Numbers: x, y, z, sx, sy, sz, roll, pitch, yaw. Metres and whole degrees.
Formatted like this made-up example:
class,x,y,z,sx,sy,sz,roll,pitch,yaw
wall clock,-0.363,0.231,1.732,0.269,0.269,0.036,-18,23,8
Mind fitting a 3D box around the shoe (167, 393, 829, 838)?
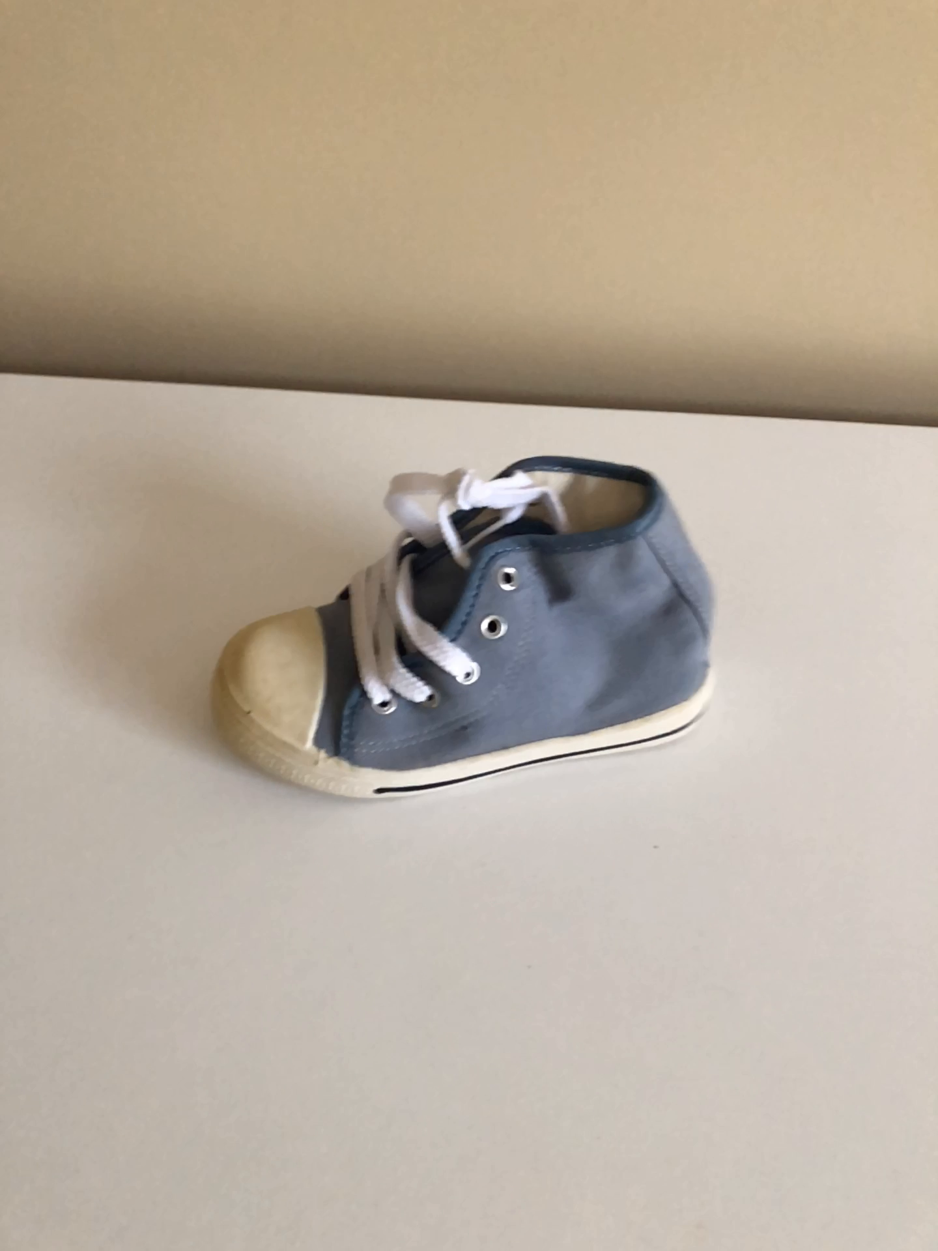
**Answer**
class,x,y,z,sx,sy,sz,roll,pitch,yaw
shoe,0.005,-0.003,0.355,0.190,0.099,0.080,-8,50,-7
